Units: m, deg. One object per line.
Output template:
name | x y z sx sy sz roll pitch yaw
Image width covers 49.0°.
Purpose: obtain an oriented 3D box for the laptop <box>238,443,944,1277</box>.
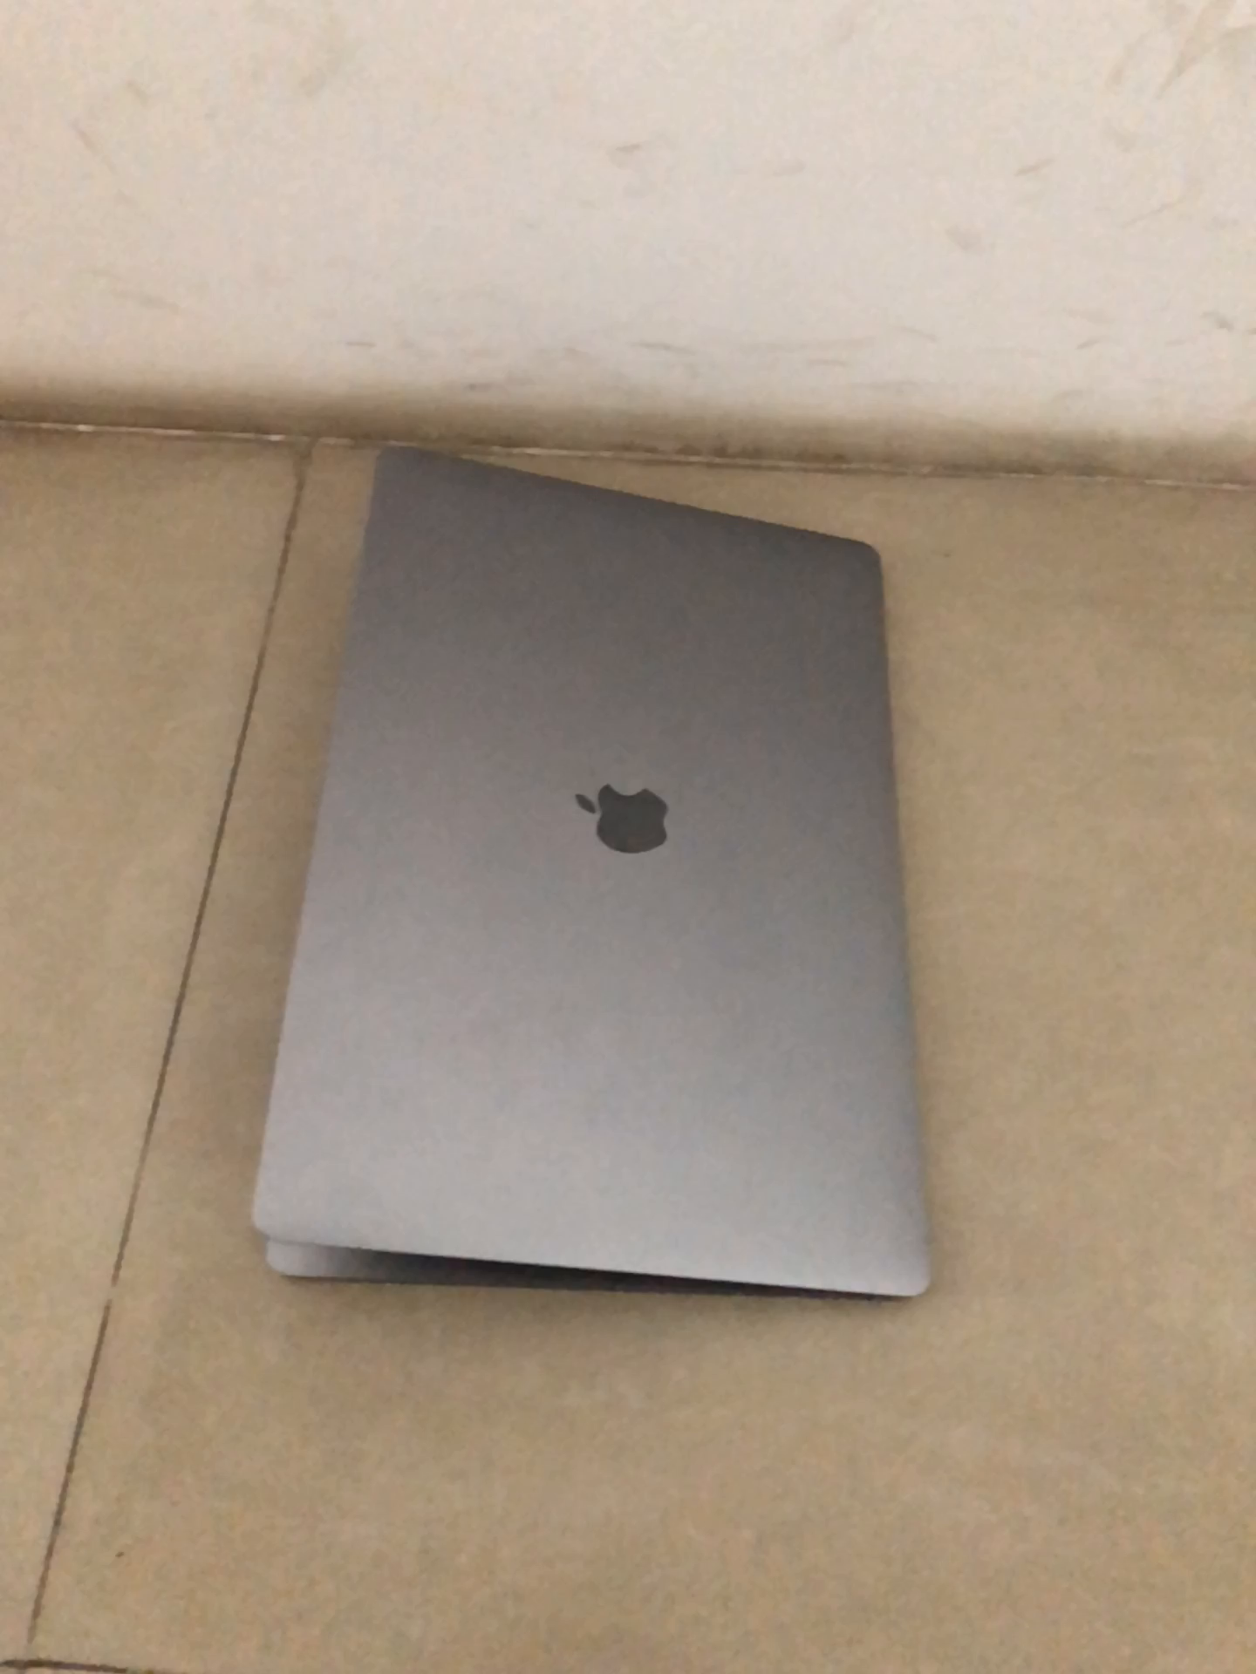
laptop | -0.004 -0.008 0.556 0.232 0.057 0.336 3 61 1
